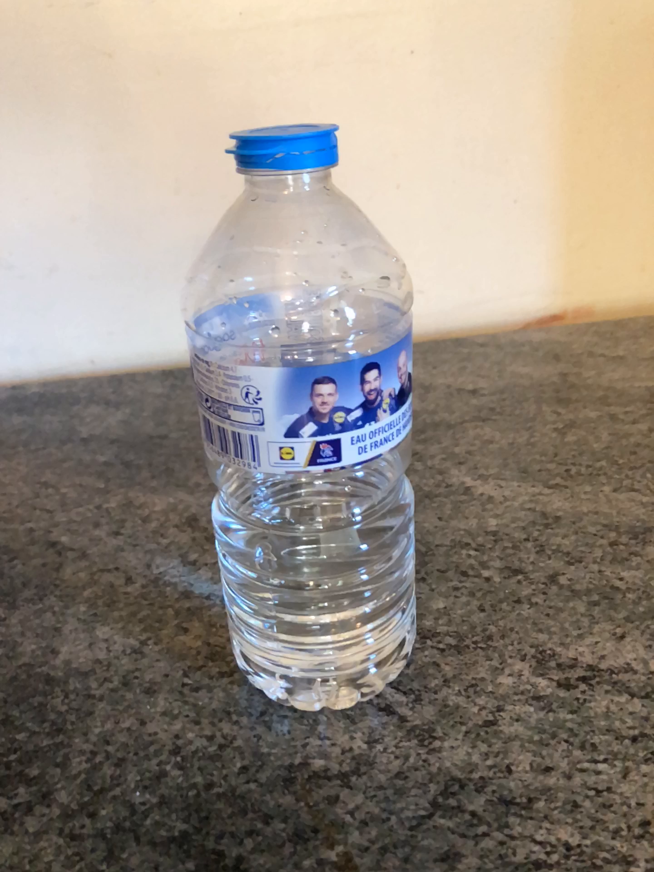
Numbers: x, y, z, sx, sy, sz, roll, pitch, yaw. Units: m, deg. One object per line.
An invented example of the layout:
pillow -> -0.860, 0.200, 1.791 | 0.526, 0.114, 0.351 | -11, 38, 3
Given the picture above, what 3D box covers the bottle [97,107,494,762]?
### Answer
bottle -> -0.002, -0.002, 0.218 | 0.070, 0.169, 0.070 | -4, 28, 2
